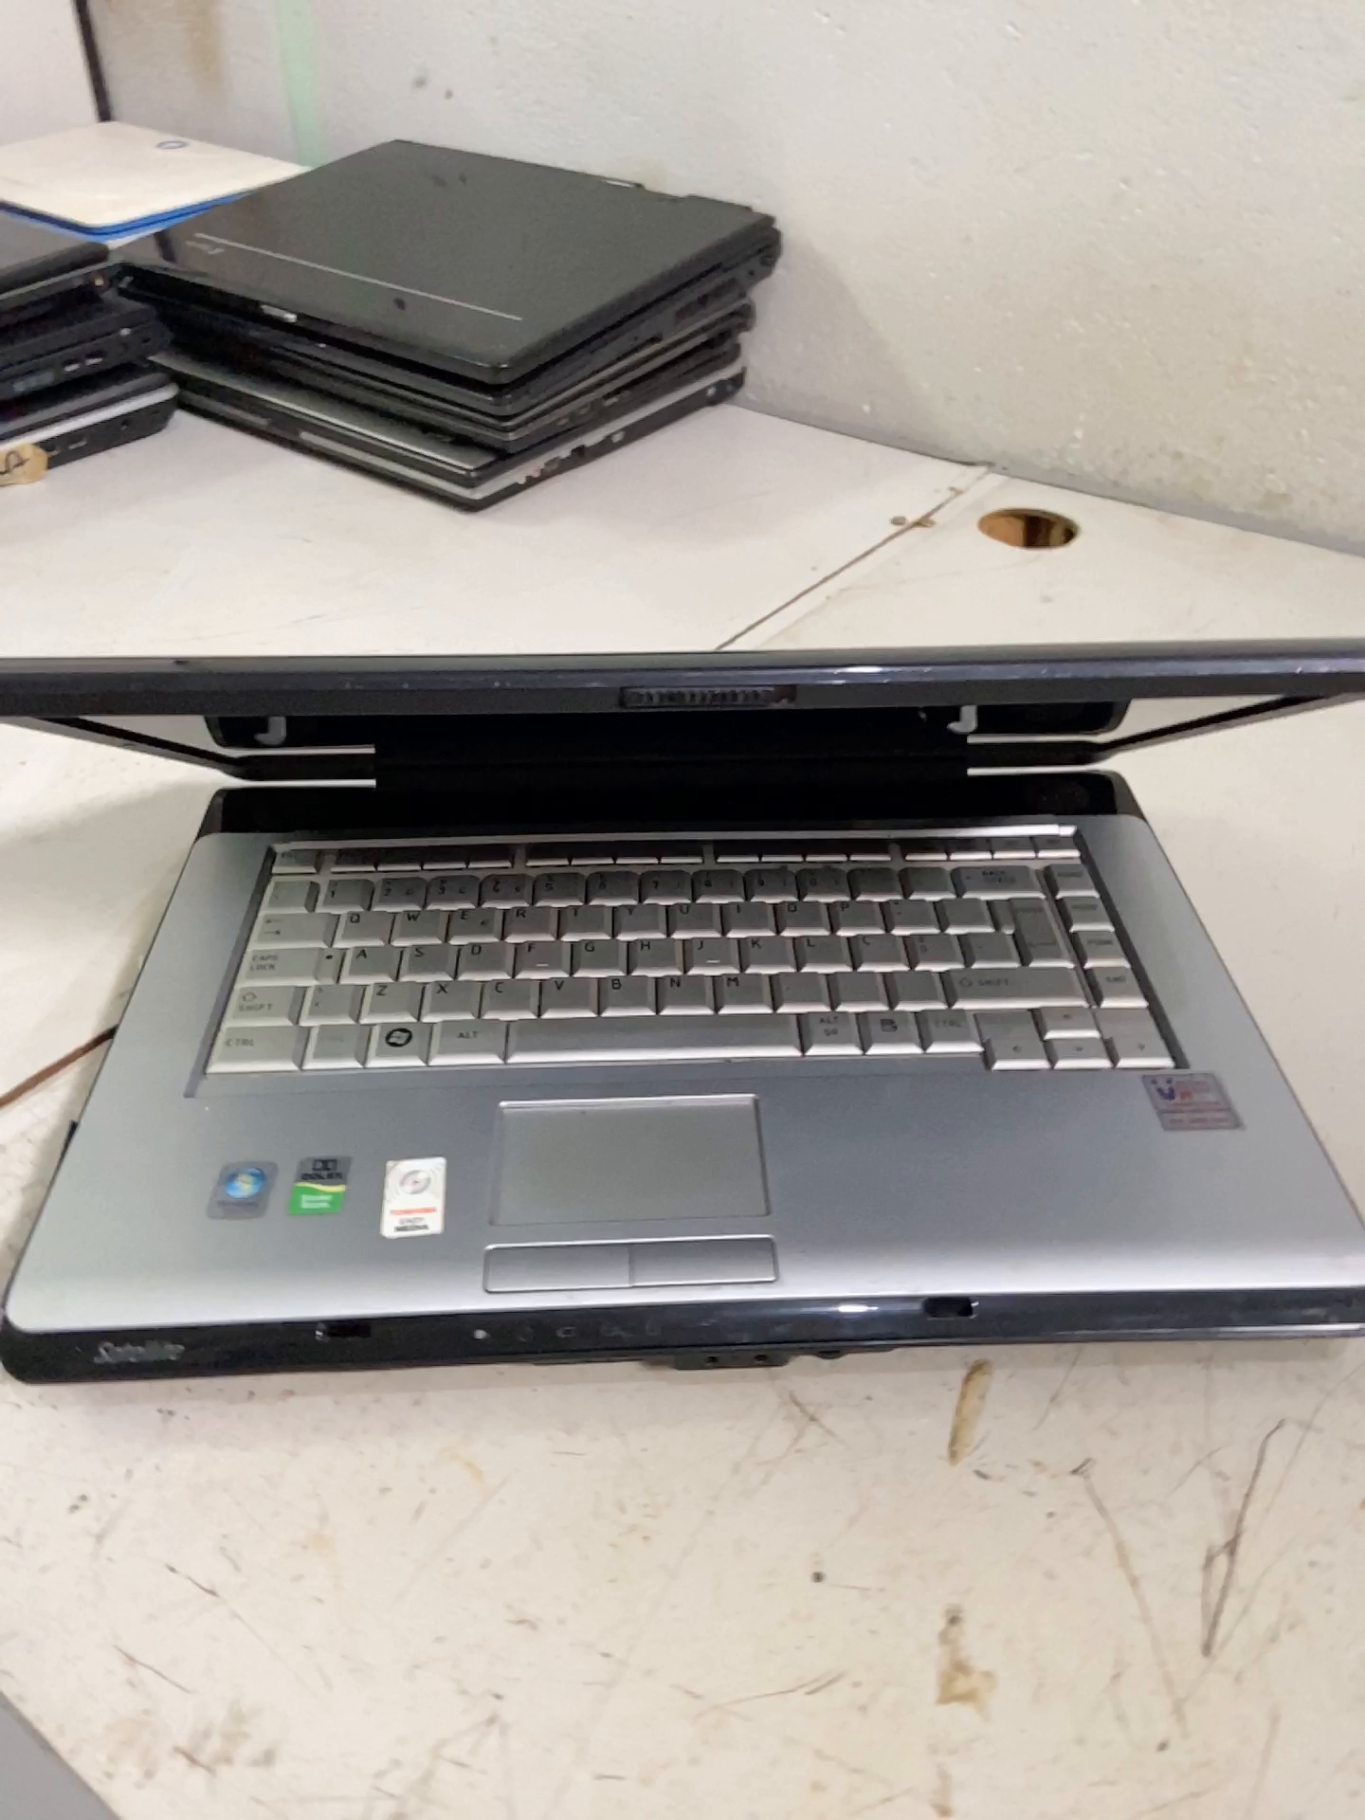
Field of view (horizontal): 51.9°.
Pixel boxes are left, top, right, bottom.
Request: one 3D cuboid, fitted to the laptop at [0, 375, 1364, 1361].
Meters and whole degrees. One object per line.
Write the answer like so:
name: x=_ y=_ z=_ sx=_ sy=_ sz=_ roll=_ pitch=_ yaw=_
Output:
laptop: x=0.000 y=-0.034 z=0.402 sx=0.346 sy=0.152 sz=0.259 roll=-1 pitch=38 yaw=-2
